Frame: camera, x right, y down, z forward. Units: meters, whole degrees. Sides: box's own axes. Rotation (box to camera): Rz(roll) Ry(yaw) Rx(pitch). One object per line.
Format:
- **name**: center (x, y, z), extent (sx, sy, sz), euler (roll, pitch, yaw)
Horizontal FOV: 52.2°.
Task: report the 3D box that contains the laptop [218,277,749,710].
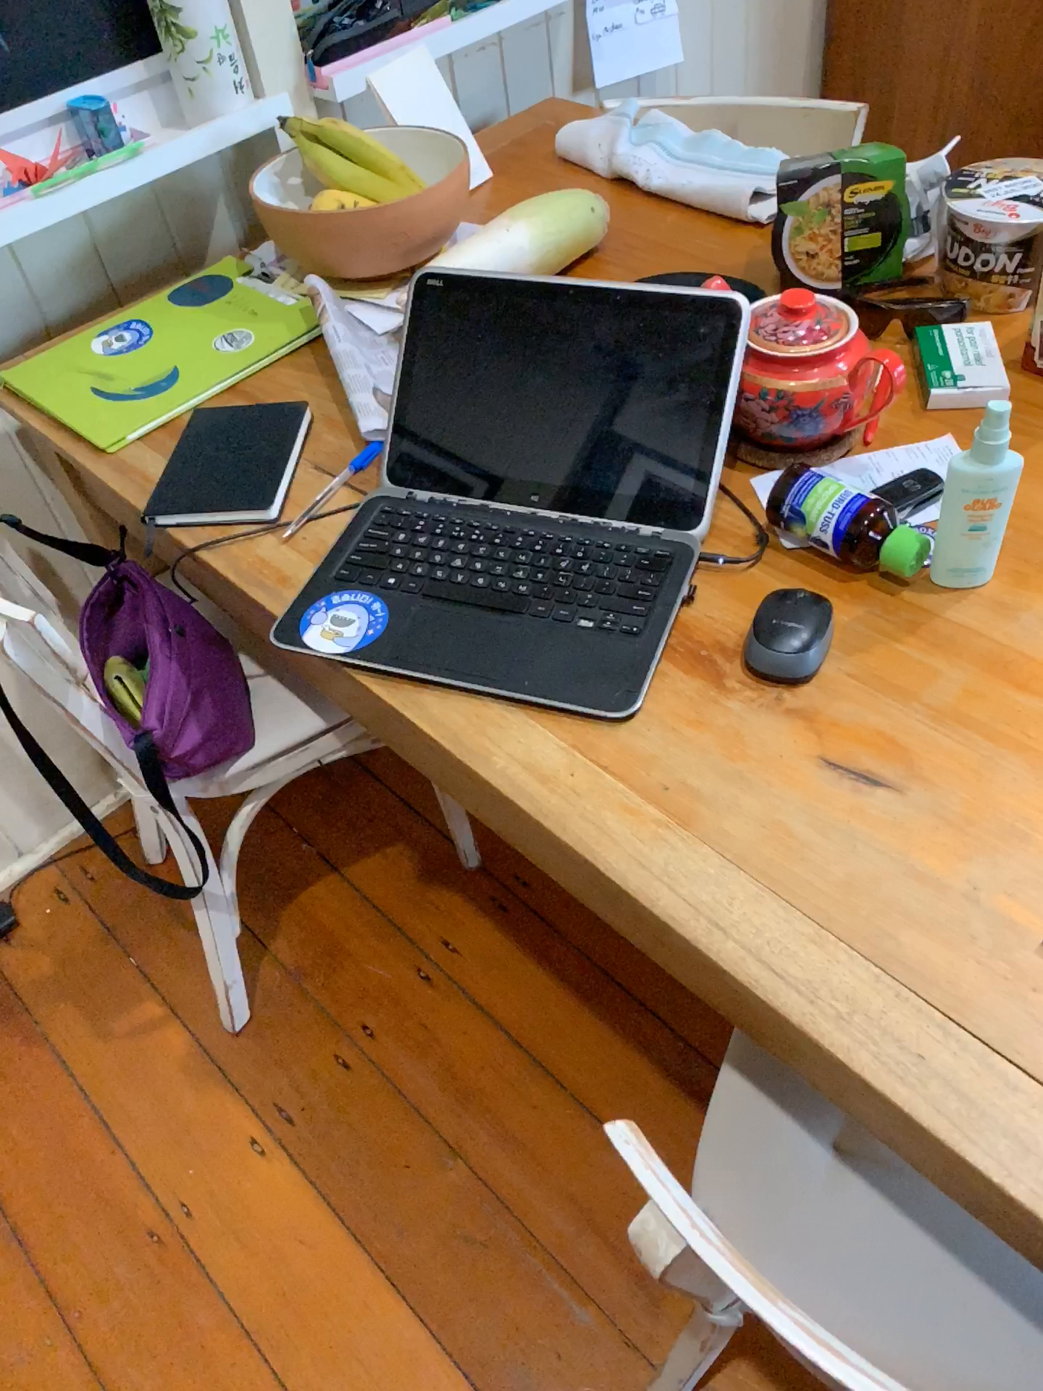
- **laptop**: center (-0.007, -0.185, 0.871), extent (0.303, 0.139, 0.340), euler (11, 51, 18)
